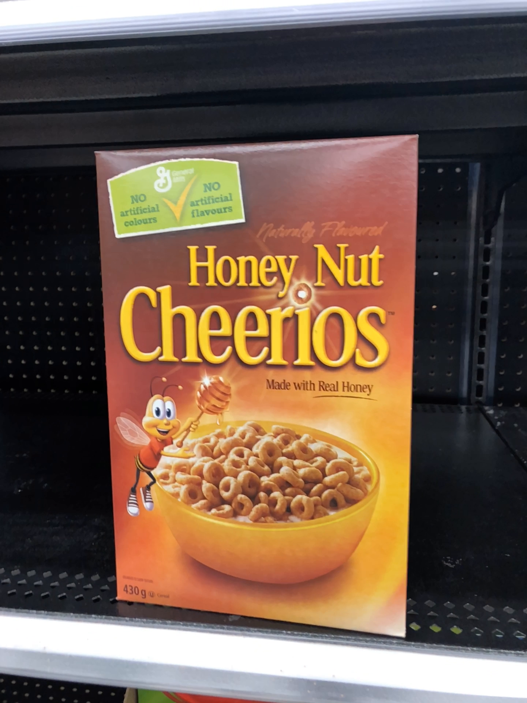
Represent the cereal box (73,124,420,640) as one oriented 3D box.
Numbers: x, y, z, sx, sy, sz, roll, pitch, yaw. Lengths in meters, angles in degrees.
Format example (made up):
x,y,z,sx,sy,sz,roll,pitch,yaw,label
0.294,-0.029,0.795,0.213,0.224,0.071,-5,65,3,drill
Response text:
x,y,z,sx,sy,sz,roll,pitch,yaw,label
-0.006,0.019,0.384,0.200,0.299,0.070,1,10,13,cereal box
